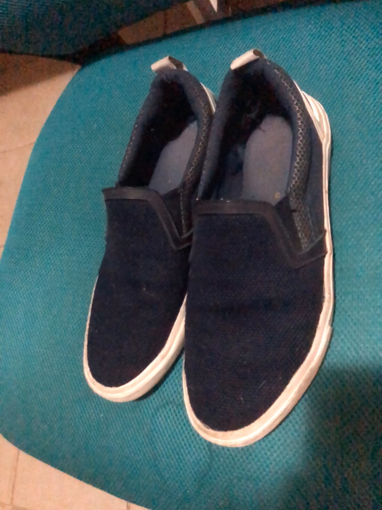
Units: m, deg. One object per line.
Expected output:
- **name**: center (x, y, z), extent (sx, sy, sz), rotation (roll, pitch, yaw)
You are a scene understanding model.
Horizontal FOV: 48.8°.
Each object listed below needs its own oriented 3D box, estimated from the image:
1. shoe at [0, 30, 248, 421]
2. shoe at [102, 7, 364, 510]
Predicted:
- **shoe**: center (-0.049, -0.025, 0.371), extent (0.120, 0.110, 0.290), rotation (6, 77, 28)
- **shoe**: center (0.047, -0.004, 0.307), extent (0.120, 0.110, 0.290), rotation (3, 75, 28)
